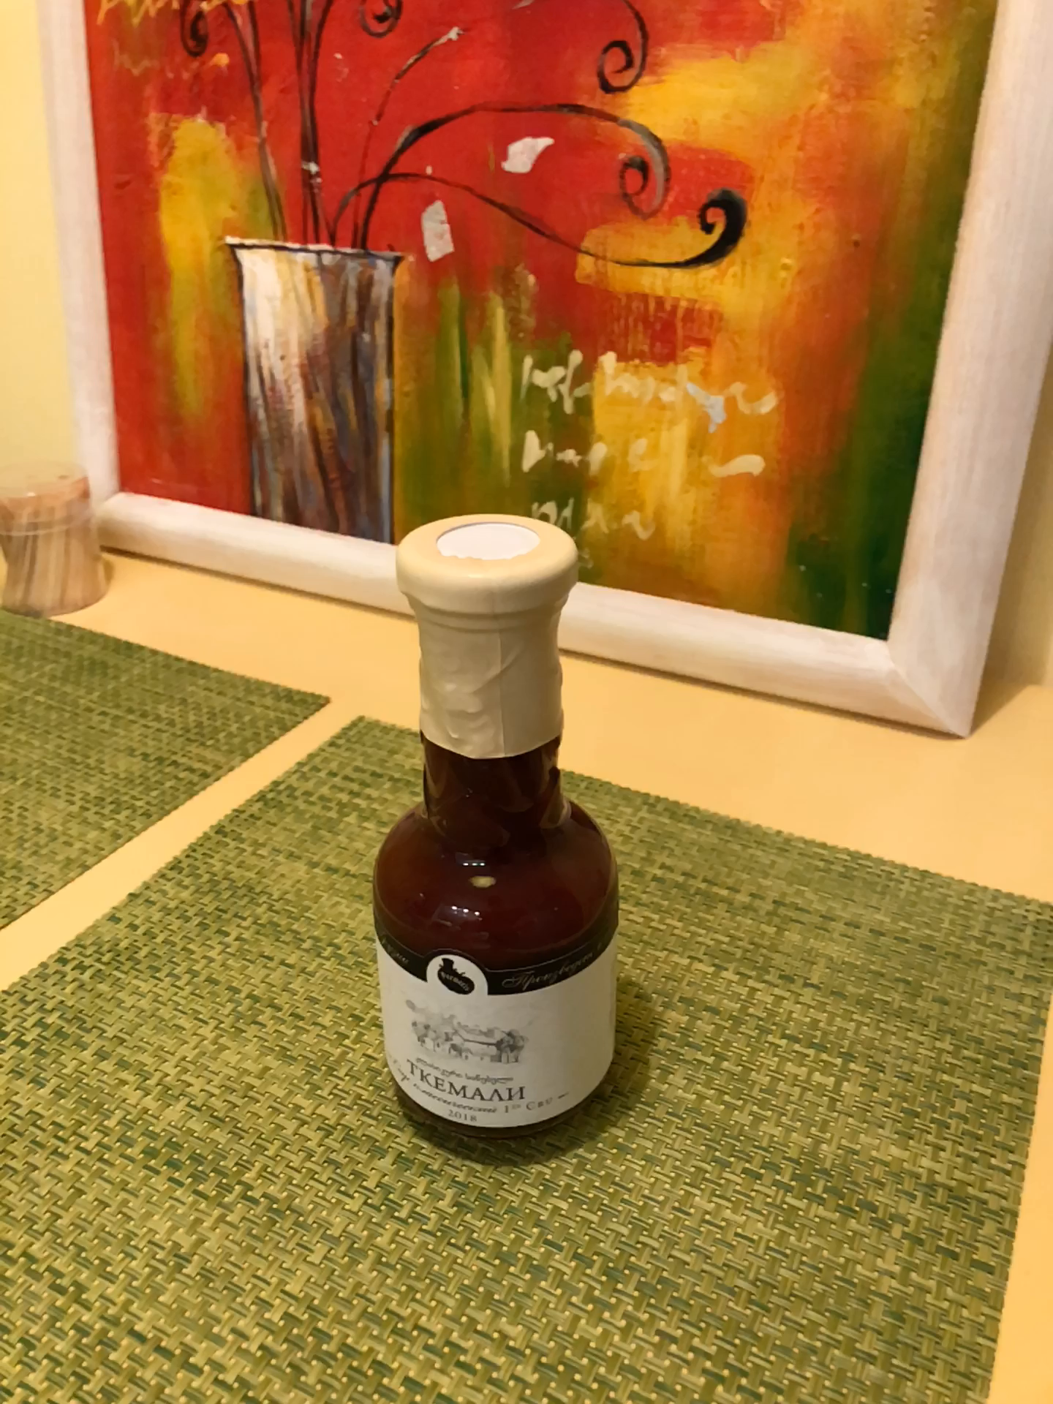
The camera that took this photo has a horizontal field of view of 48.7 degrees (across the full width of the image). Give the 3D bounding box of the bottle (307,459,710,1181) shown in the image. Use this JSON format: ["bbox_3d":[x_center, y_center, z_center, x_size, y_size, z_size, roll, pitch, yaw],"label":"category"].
[{"bbox_3d":[-0.001,0.030,0.296,0.070,0.159,0.070,1,28,0],"label":"bottle"}]
